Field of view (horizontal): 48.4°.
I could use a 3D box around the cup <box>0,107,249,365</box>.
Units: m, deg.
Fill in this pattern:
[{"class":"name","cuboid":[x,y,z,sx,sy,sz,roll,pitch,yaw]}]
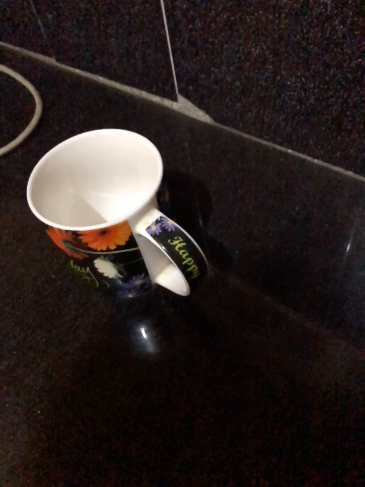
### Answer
[{"class":"cup","cuboid":[-0.036,-0.009,0.274,0.130,0.090,0.090,34,66,29]}]
